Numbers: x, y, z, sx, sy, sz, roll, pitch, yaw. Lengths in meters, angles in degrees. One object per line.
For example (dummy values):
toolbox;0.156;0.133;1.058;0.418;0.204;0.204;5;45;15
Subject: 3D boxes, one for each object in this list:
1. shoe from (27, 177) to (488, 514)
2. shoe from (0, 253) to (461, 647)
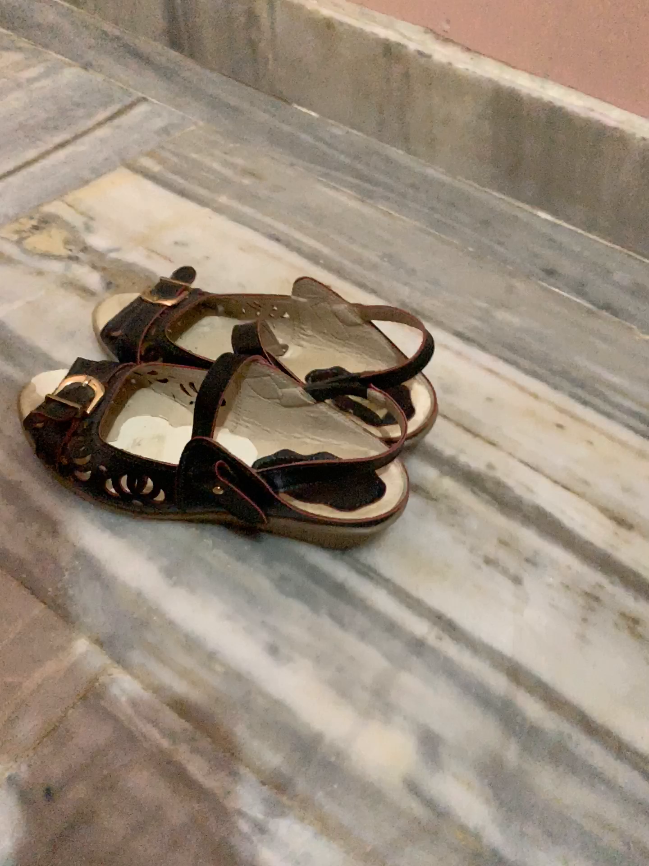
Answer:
shoe;-0.043;-0.061;0.443;0.260;0.100;0.100;22;52;9
shoe;-0.071;0.006;0.386;0.260;0.100;0.100;22;52;9
